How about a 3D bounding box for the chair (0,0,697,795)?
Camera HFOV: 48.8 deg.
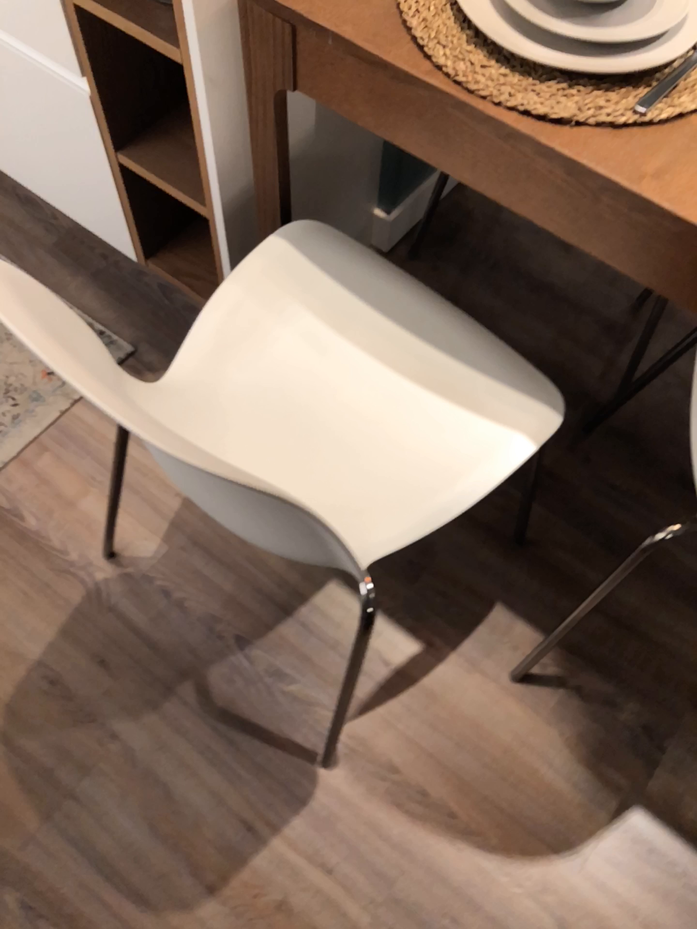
[{"bbox_3d":[-0.032,-0.046,0.915,0.541,0.707,0.531,39,67,16],"label":"chair"}]
